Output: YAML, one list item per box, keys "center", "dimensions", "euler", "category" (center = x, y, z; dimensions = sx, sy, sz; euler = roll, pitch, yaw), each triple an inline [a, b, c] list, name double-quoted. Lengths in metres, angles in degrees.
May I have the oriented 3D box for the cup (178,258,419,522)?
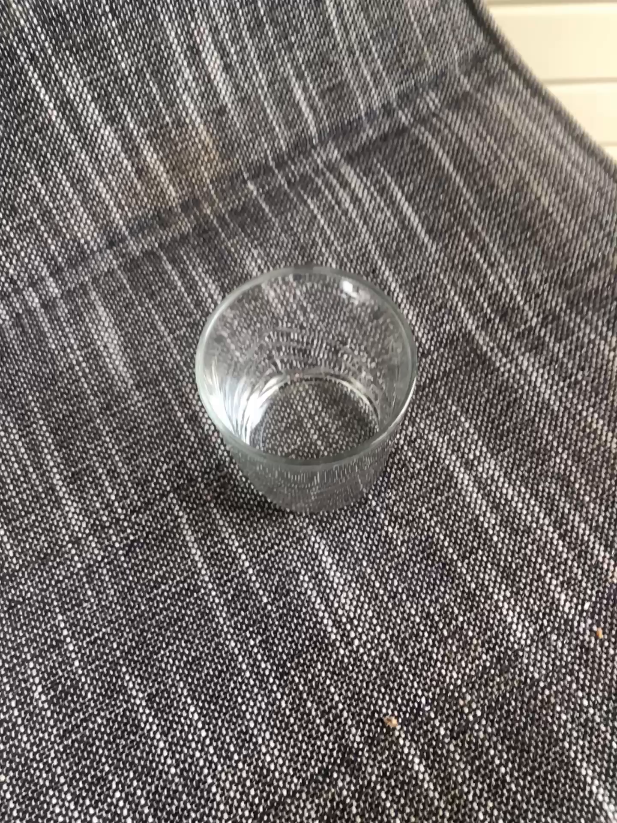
- center: [-0.001, -0.003, 0.248]
  dimensions: [0.070, 0.080, 0.070]
  euler: [-1, 70, 2]
  category: "cup"
